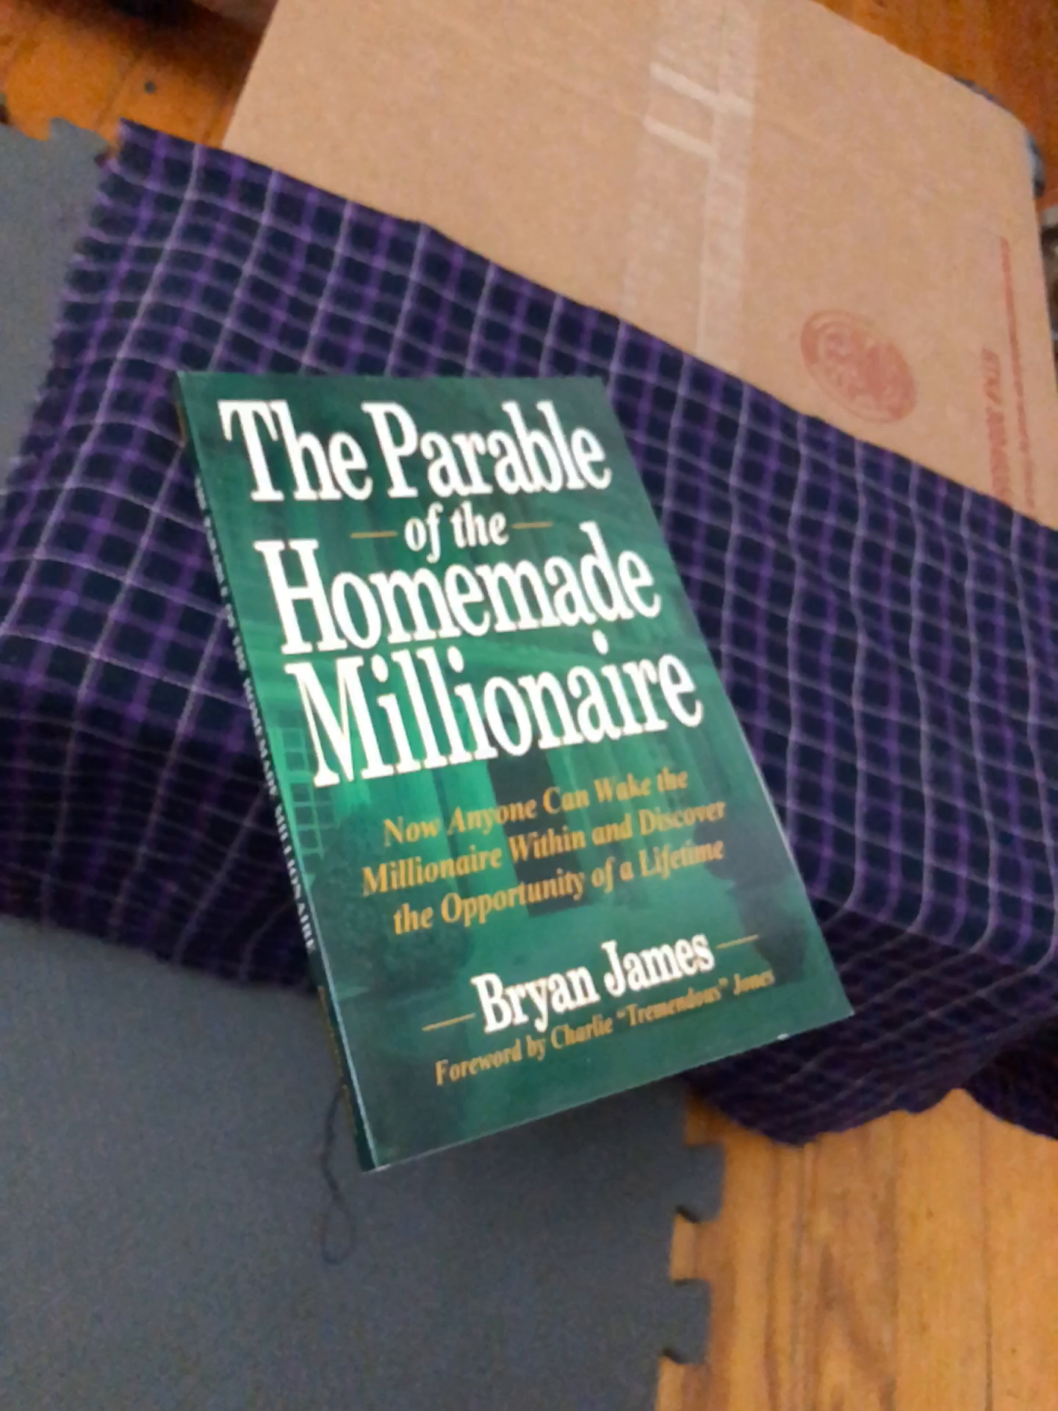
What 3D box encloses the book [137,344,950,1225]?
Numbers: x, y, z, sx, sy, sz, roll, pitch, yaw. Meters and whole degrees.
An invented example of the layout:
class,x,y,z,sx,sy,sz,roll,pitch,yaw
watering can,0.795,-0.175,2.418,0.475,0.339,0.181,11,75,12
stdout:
class,x,y,z,sx,sy,sz,roll,pitch,yaw
book,0.002,-0.002,0.306,0.161,0.020,0.210,-9,69,-28
